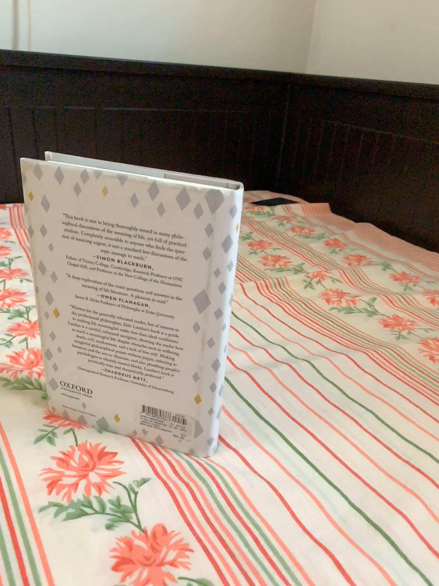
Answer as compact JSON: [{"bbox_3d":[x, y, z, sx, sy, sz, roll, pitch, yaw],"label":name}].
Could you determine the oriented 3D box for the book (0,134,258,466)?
[{"bbox_3d":[-0.066,0.011,0.326,0.160,0.218,0.030,12,27,14],"label":"book"}]
